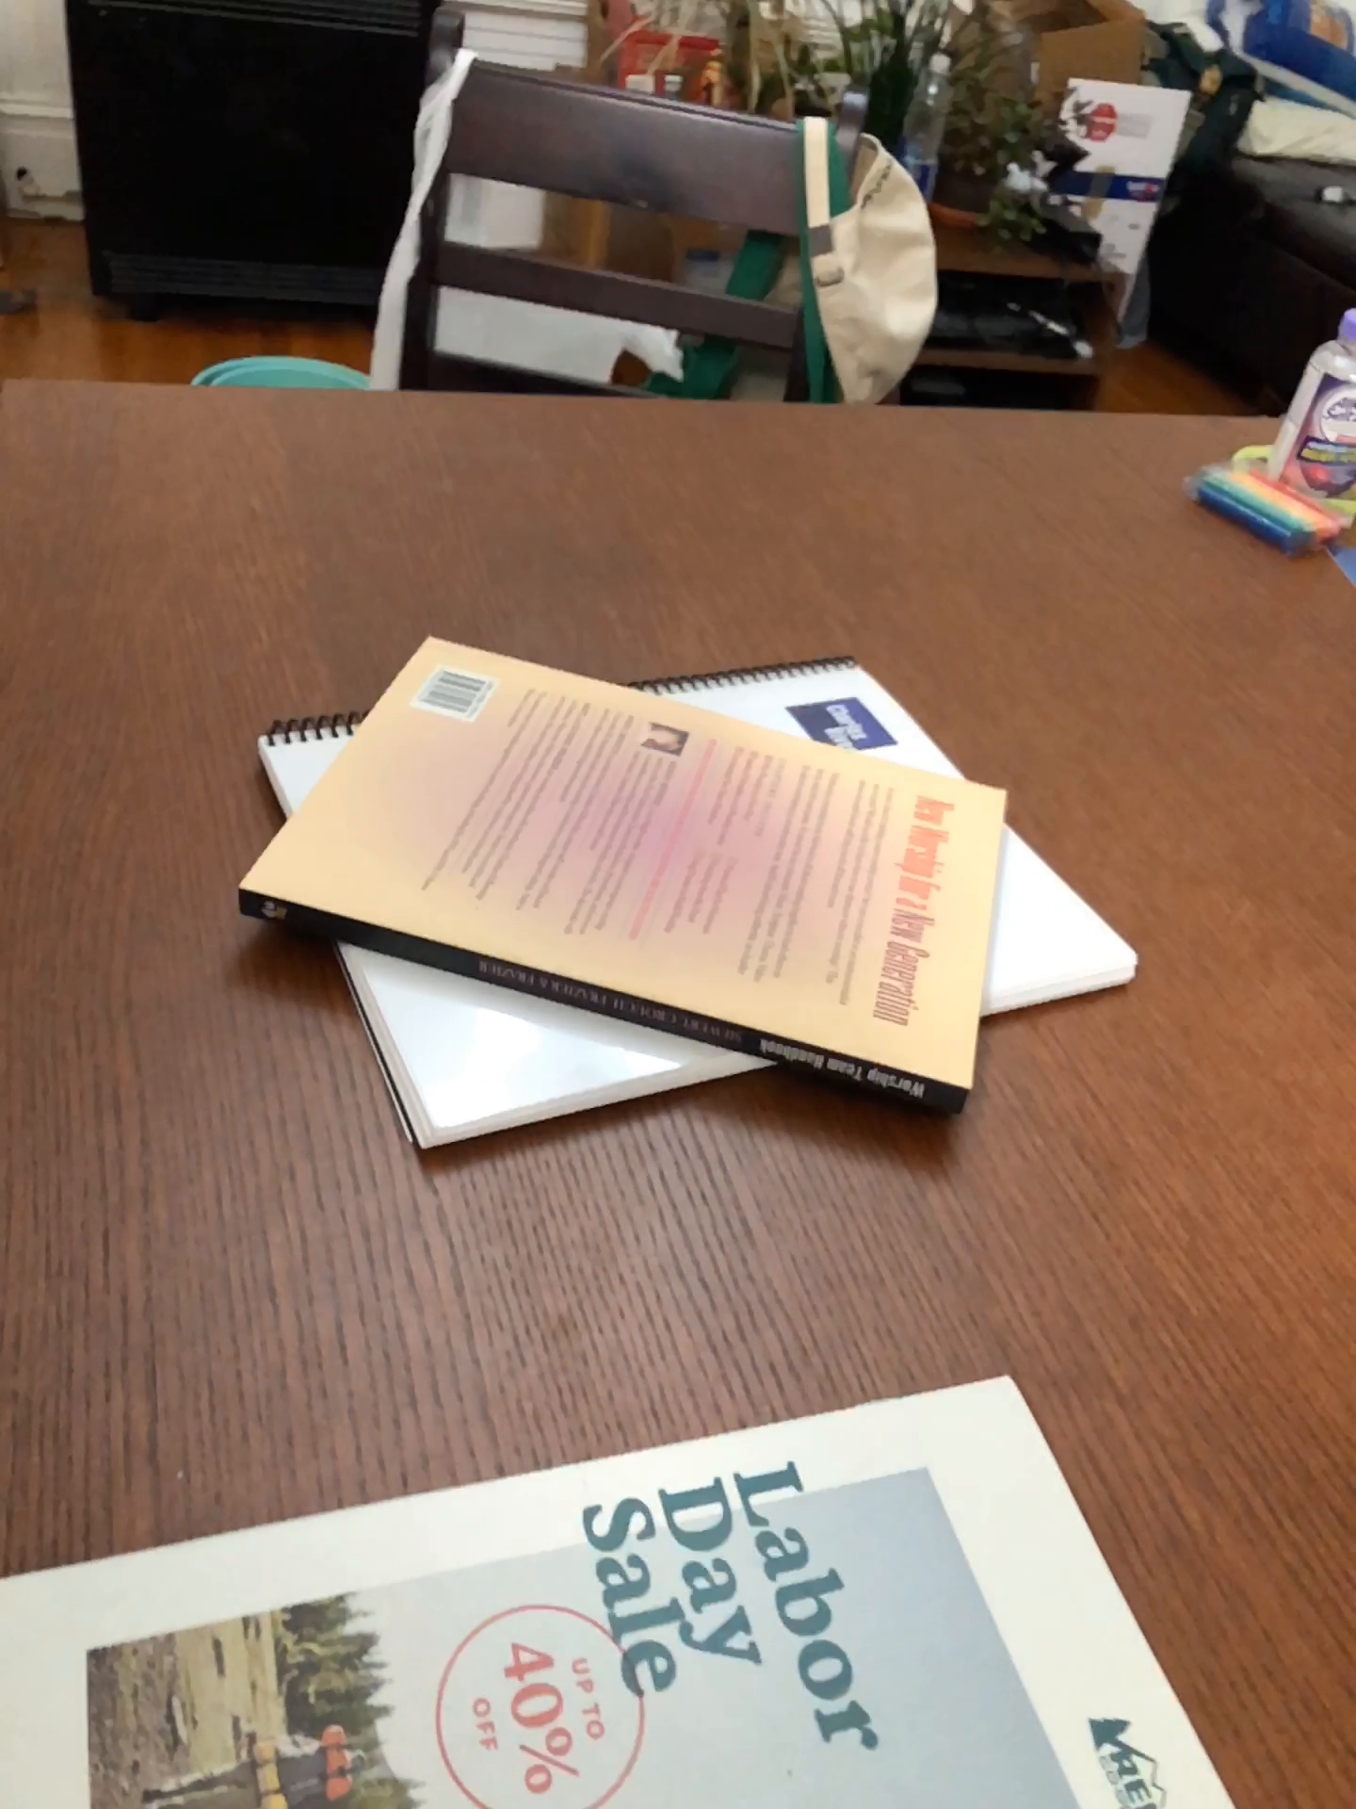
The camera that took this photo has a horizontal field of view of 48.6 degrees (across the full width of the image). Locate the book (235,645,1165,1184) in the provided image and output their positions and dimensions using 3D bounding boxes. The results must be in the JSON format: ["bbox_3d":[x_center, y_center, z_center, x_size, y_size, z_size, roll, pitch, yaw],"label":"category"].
[{"bbox_3d":[0.002,-0.020,0.583,0.291,0.020,0.231,-11,43,-25],"label":"book"}]

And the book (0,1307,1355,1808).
[{"bbox_3d":[-0.005,0.191,0.308,0.270,0.010,0.201,-5,41,-19],"label":"book"}]

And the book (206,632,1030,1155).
[{"bbox_3d":[-0.006,-0.018,0.552,0.260,0.020,0.191,15,39,6],"label":"book"}]
